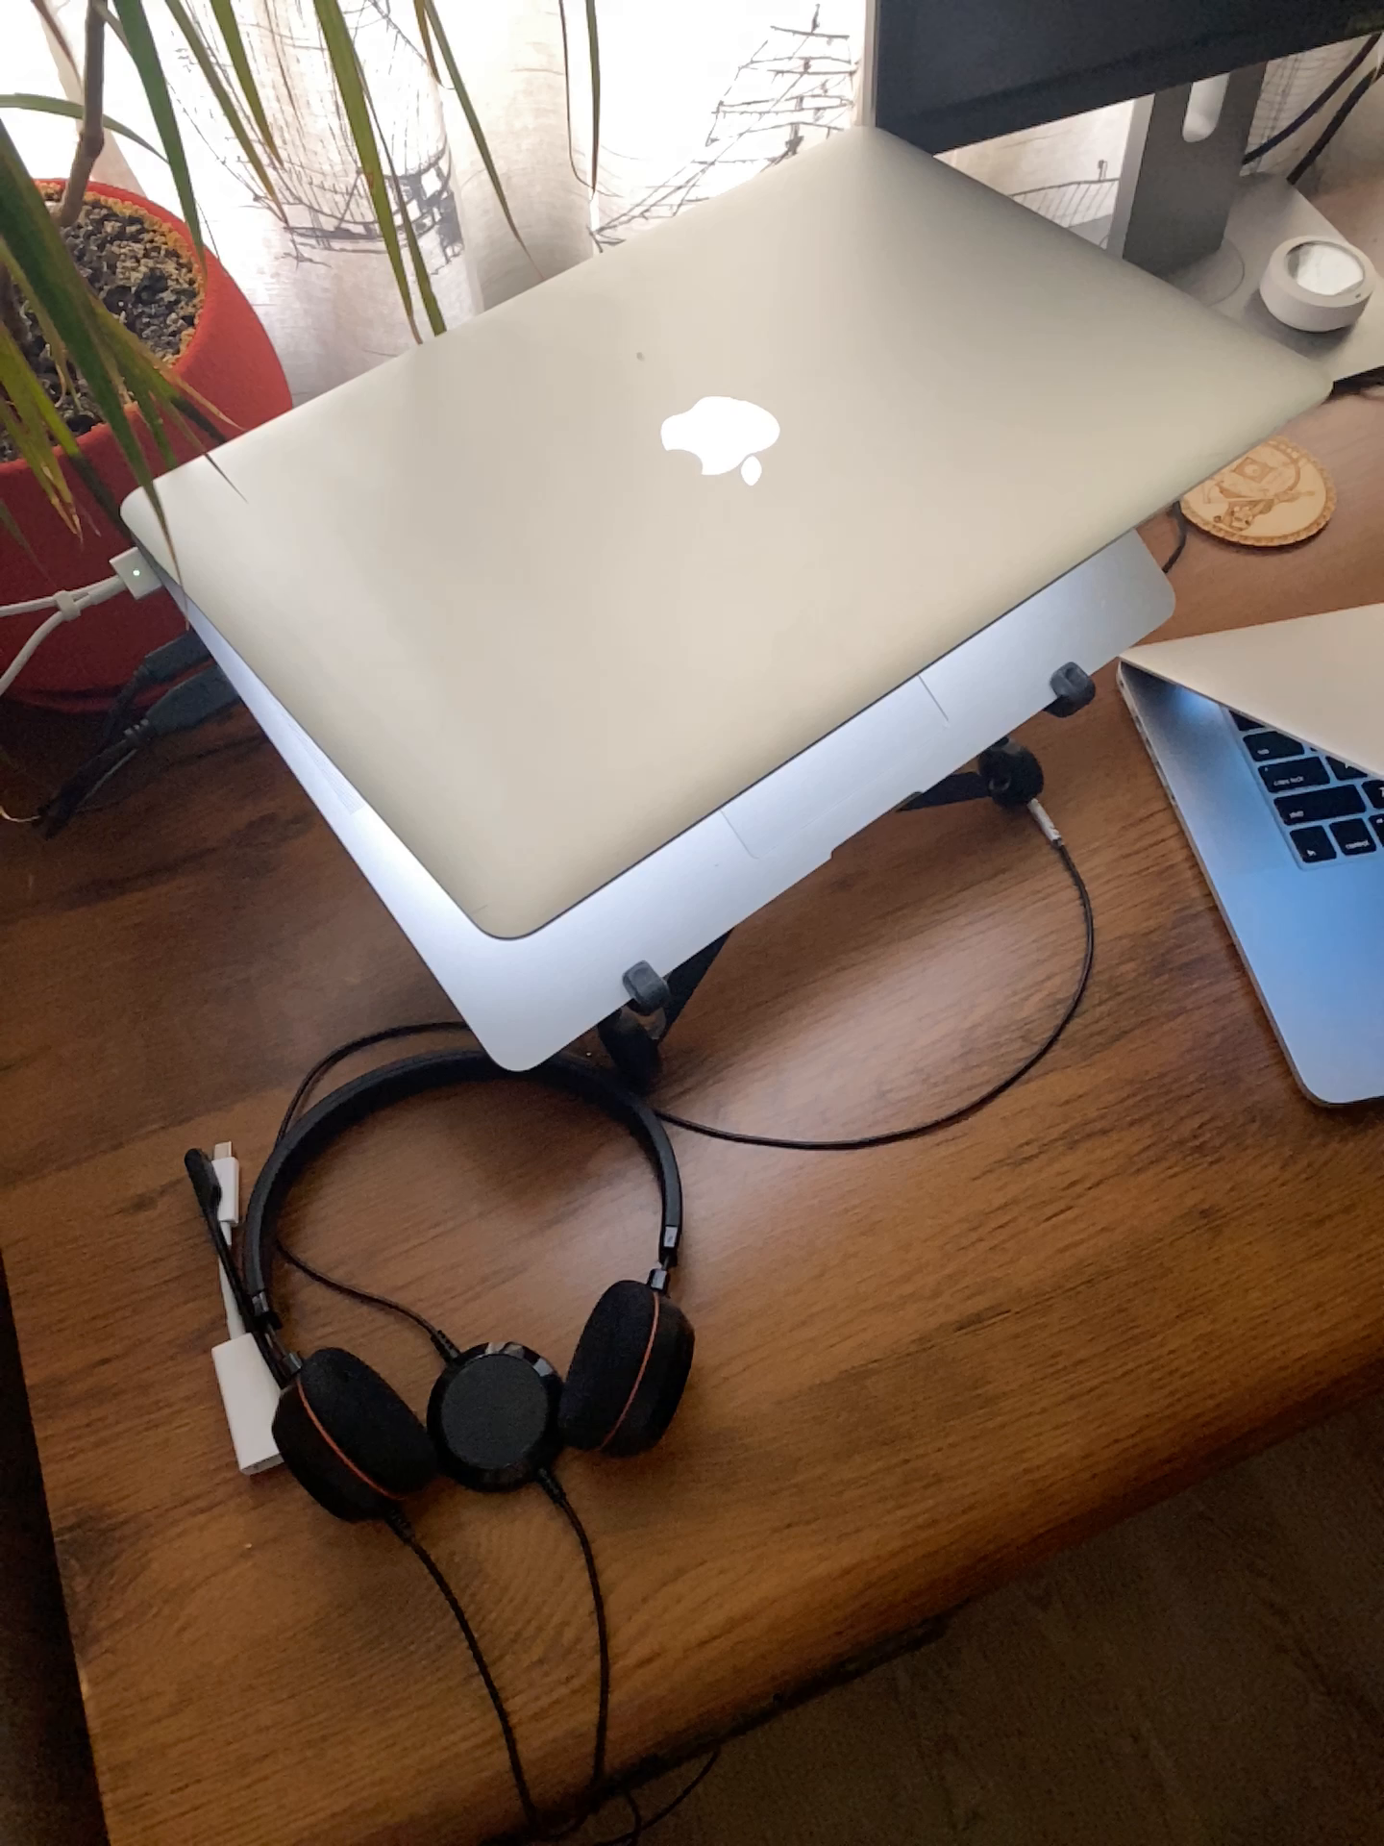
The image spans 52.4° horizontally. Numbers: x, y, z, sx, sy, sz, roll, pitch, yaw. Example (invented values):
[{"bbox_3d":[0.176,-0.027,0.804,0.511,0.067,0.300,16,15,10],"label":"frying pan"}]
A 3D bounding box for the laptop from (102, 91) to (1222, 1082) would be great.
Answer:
[{"bbox_3d":[0.008,-0.145,0.541,0.355,0.022,0.242,-34,88,-17],"label":"laptop"}]

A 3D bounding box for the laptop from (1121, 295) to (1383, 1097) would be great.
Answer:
[{"bbox_3d":[0.407,-0.096,0.584,0.355,0.152,0.236,-10,60,-4],"label":"laptop"}]
